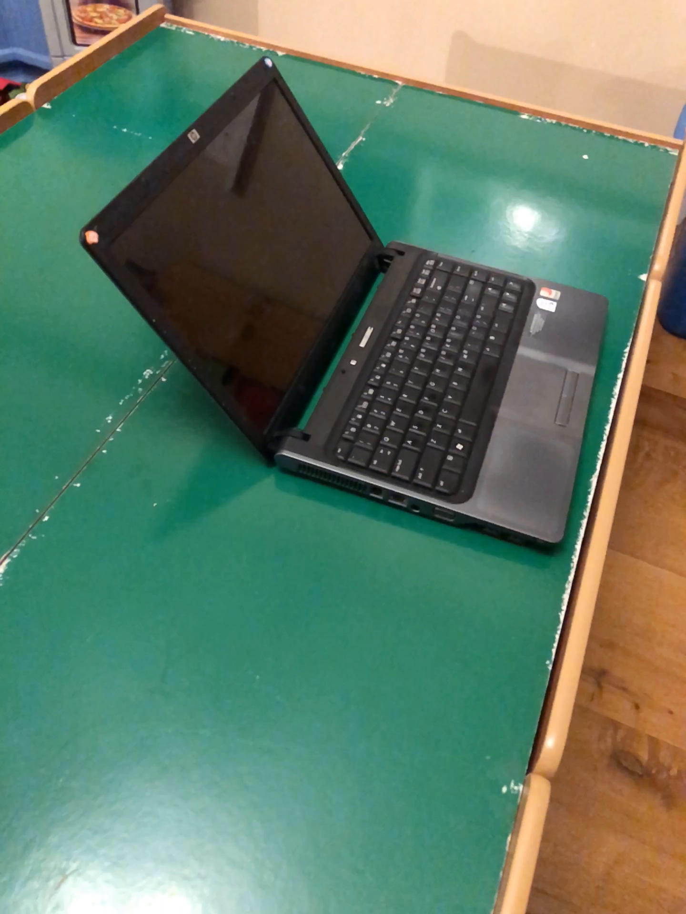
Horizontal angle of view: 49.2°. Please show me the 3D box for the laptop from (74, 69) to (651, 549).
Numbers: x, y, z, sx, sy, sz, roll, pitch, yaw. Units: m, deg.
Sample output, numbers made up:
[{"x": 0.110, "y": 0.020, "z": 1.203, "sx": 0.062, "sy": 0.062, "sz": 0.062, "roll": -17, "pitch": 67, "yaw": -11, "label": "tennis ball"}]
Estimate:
[{"x": 0.036, "y": -0.152, "z": 0.658, "sx": 0.374, "sy": 0.172, "sz": 0.324, "roll": 17, "pitch": 51, "yaw": 10, "label": "laptop"}]
